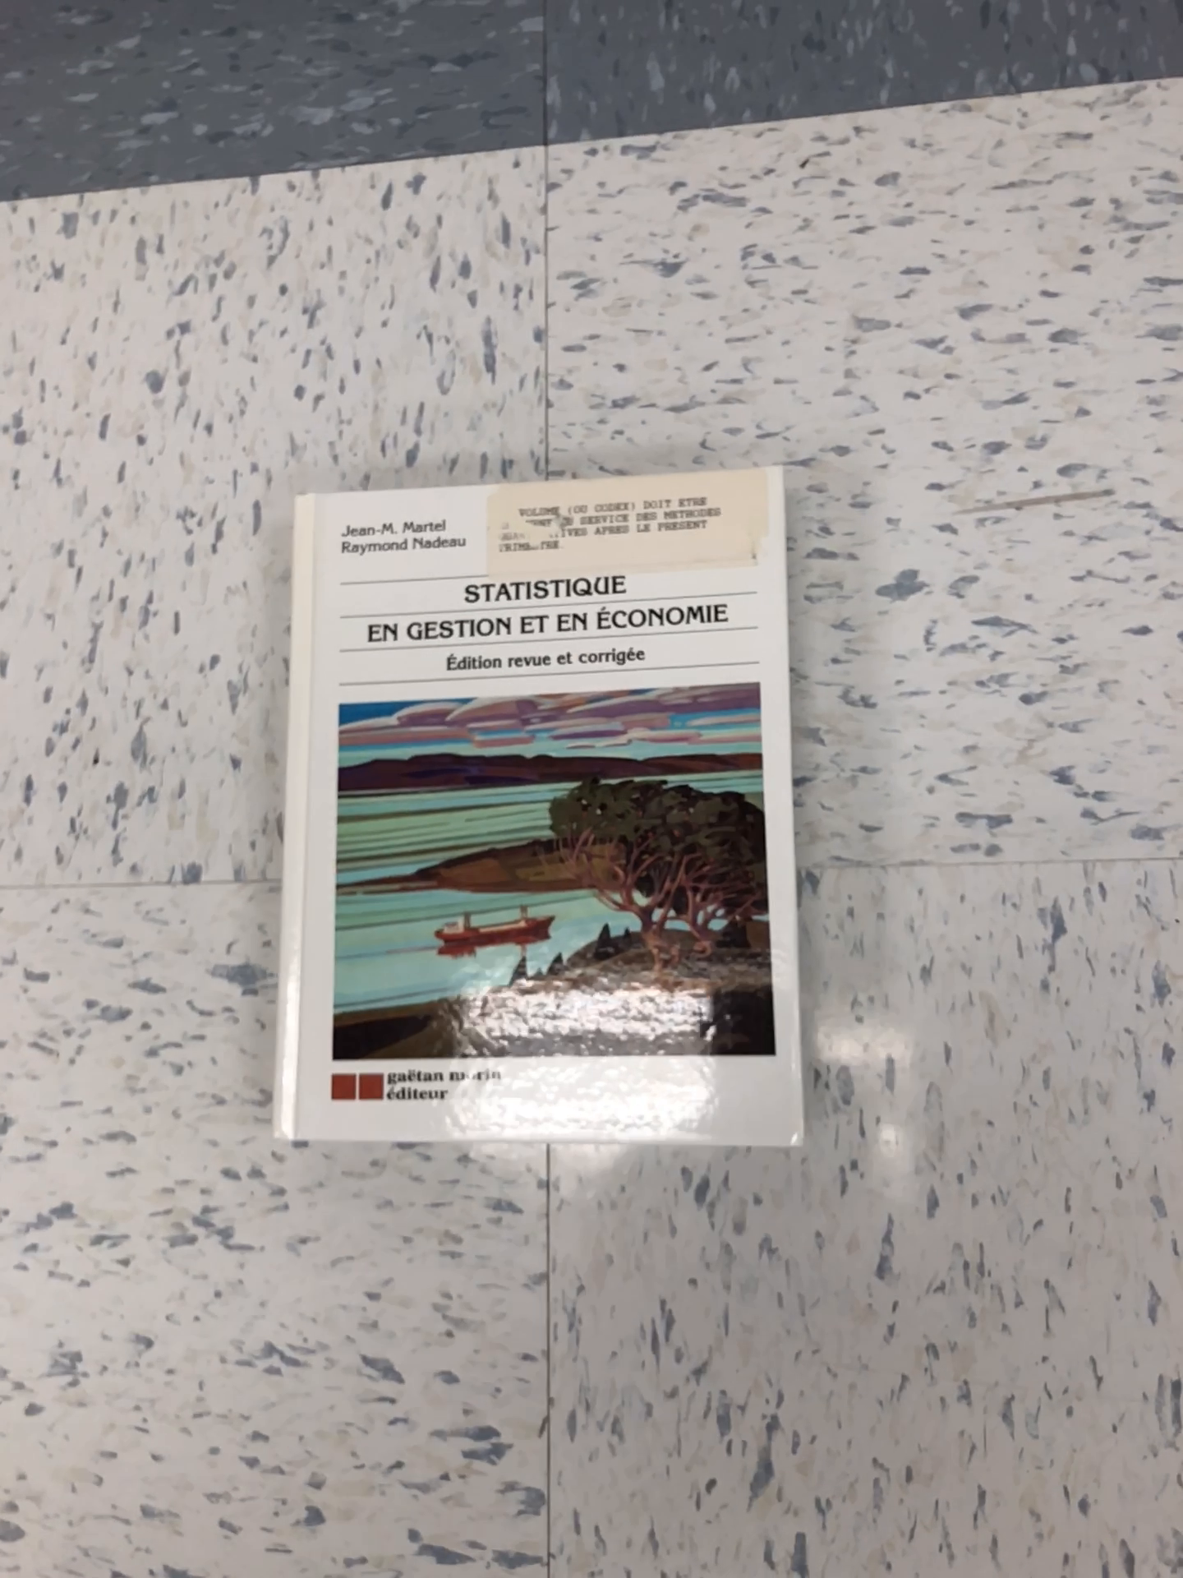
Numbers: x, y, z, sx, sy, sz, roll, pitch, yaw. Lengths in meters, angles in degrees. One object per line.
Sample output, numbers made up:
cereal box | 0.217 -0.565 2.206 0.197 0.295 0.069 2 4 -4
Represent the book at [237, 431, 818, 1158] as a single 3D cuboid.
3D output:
book | -0.021 0.005 0.471 0.190 0.060 0.240 -2 80 9
